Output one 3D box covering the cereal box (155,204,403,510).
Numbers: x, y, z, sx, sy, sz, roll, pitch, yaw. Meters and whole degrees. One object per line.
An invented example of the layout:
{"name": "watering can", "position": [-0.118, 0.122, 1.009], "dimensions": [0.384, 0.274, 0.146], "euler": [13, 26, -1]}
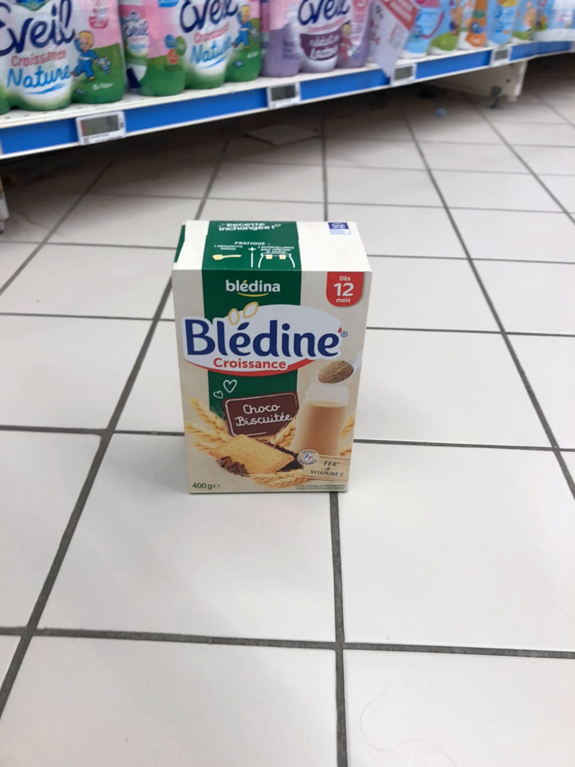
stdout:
{"name": "cereal box", "position": [-0.010, -0.019, 0.489], "dimensions": [0.150, 0.199, 0.121], "euler": [0, 34, -3]}
